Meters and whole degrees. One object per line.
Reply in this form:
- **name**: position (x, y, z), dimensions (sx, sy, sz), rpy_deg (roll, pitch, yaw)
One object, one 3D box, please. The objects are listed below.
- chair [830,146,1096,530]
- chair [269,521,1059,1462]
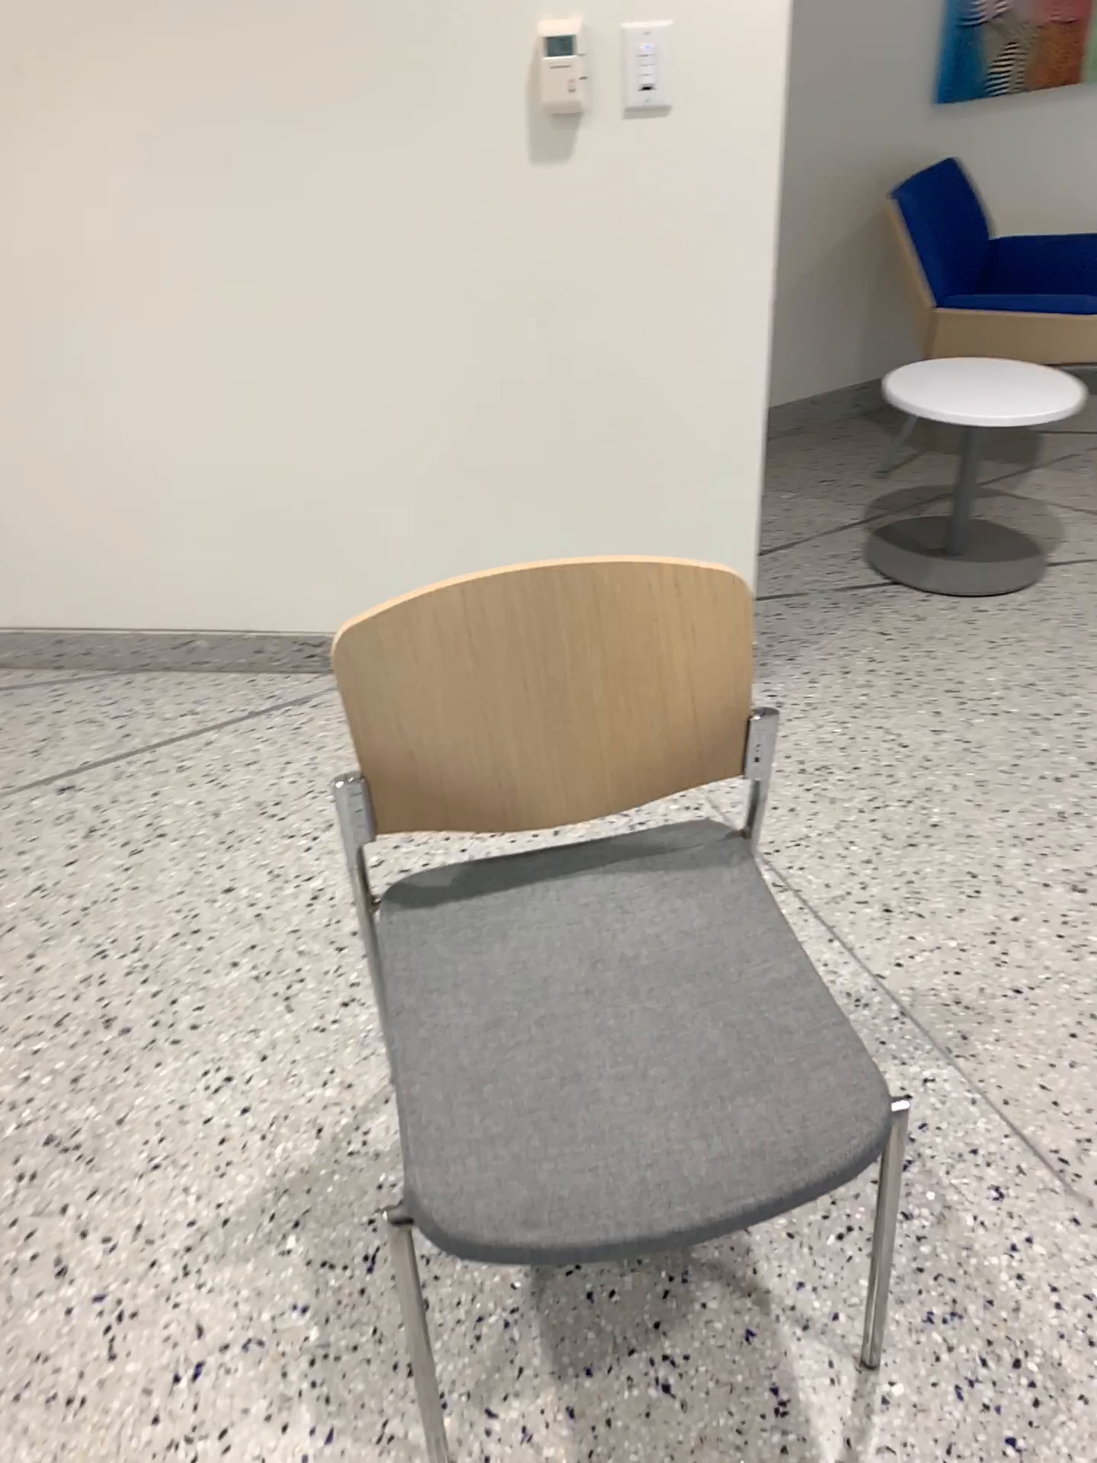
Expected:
- **chair**: position (1.296, -1.118, 3.054), dimensions (0.763, 0.758, 0.772), rpy_deg (15, 39, 25)
- **chair**: position (0.053, 0.283, 1.192), dimensions (0.537, 0.768, 0.596), rpy_deg (-8, 35, -7)
